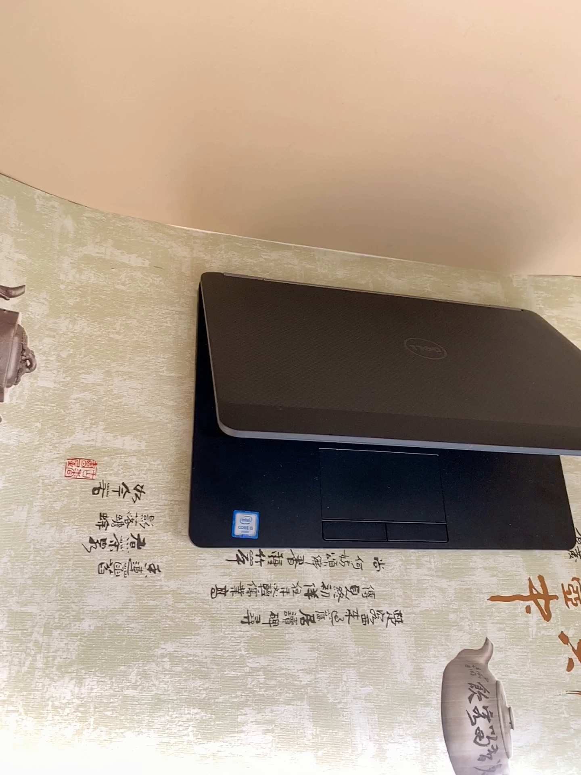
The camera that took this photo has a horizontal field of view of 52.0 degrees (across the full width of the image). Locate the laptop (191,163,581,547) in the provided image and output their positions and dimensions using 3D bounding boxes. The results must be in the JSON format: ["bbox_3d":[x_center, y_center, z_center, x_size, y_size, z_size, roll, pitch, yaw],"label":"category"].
[{"bbox_3d":[0.096,-0.004,0.423,0.309,0.136,0.212,4,67,-14],"label":"laptop"}]
